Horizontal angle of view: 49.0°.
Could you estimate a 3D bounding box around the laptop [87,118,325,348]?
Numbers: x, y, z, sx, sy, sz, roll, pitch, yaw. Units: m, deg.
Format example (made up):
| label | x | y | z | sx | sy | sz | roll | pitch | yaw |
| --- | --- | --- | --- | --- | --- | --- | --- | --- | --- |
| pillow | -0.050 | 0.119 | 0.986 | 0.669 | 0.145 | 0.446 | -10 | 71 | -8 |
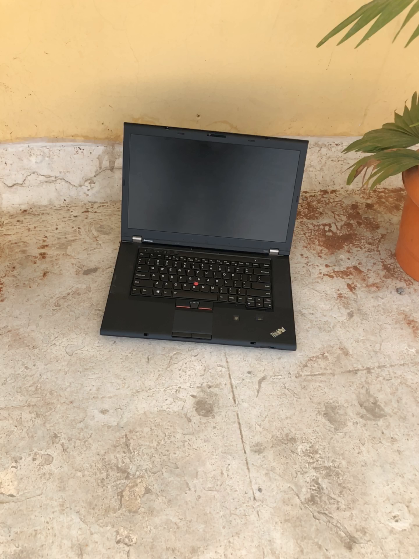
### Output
| label | x | y | z | sx | sy | sz | roll | pitch | yaw |
| --- | --- | --- | --- | --- | --- | --- | --- | --- | --- |
| laptop | -0.001 | -0.094 | 0.879 | 0.360 | 0.208 | 0.354 | 5 | 52 | -2 |
